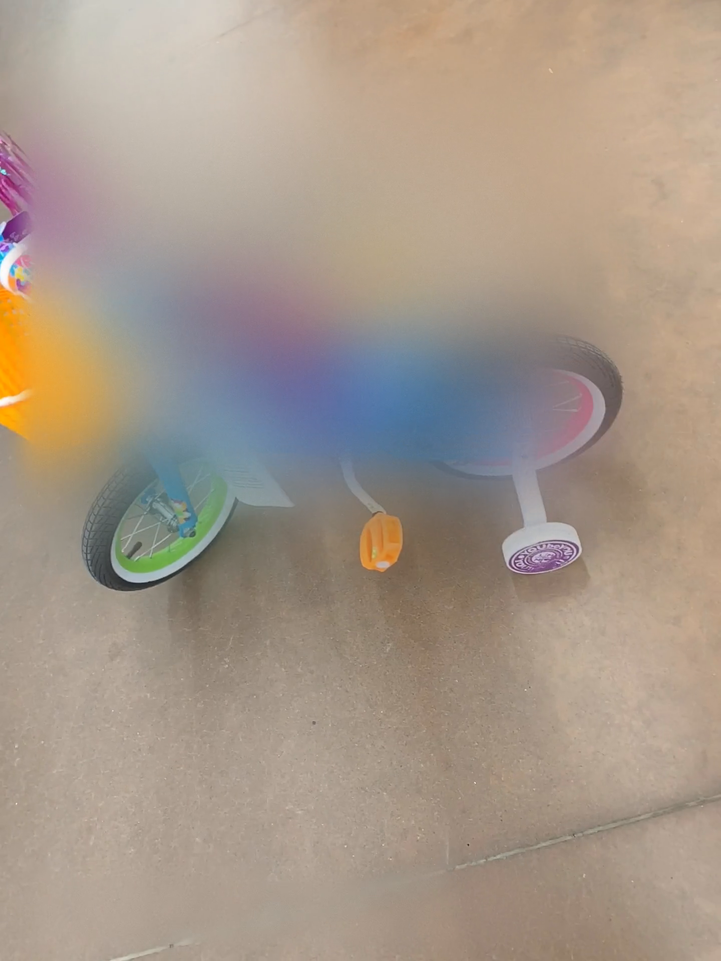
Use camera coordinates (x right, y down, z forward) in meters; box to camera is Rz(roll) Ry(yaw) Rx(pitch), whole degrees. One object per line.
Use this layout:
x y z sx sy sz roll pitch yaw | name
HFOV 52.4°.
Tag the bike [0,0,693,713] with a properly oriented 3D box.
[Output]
-0.117 -0.168 0.964 0.816 0.664 0.554 -21 53 7 | bike
